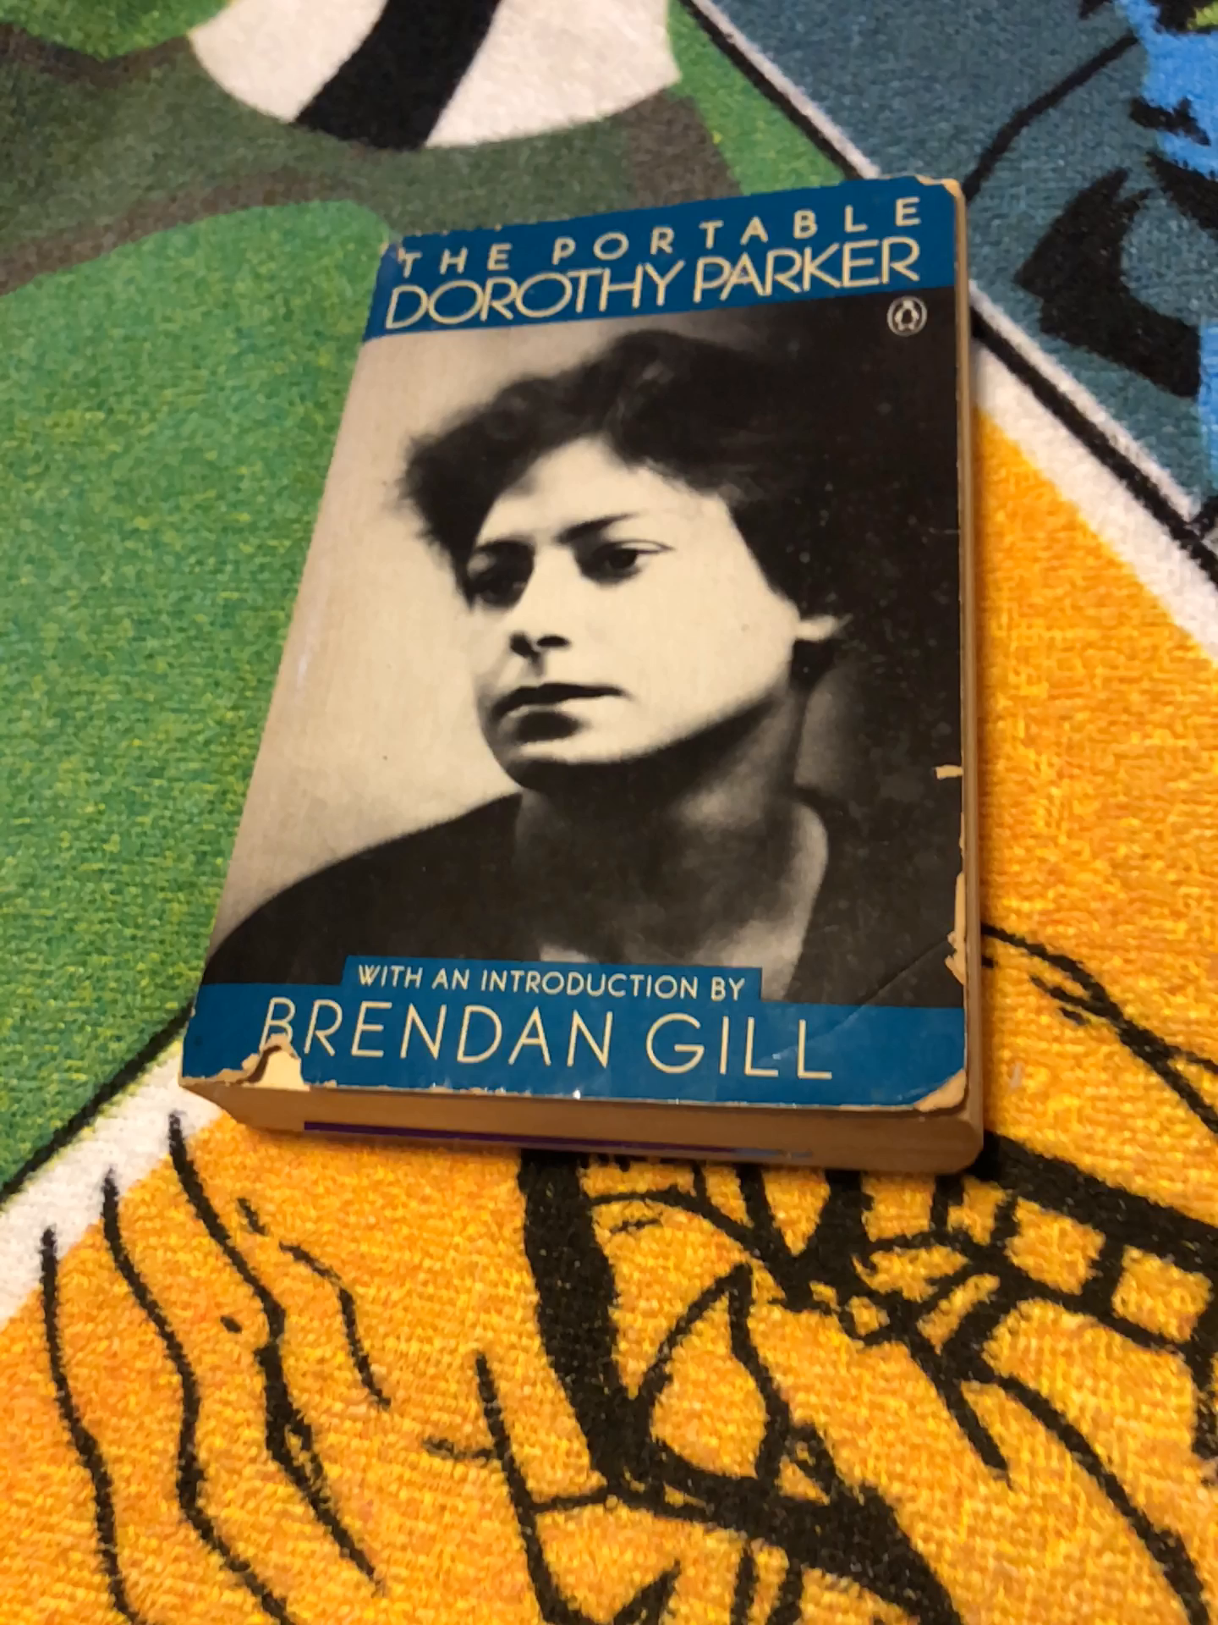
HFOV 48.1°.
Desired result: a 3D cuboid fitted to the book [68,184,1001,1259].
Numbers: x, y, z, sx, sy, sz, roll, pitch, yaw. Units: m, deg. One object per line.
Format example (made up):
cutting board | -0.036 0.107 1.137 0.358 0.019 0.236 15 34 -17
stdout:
book | -0.001 -0.028 0.260 0.140 0.040 0.201 1 63 12
